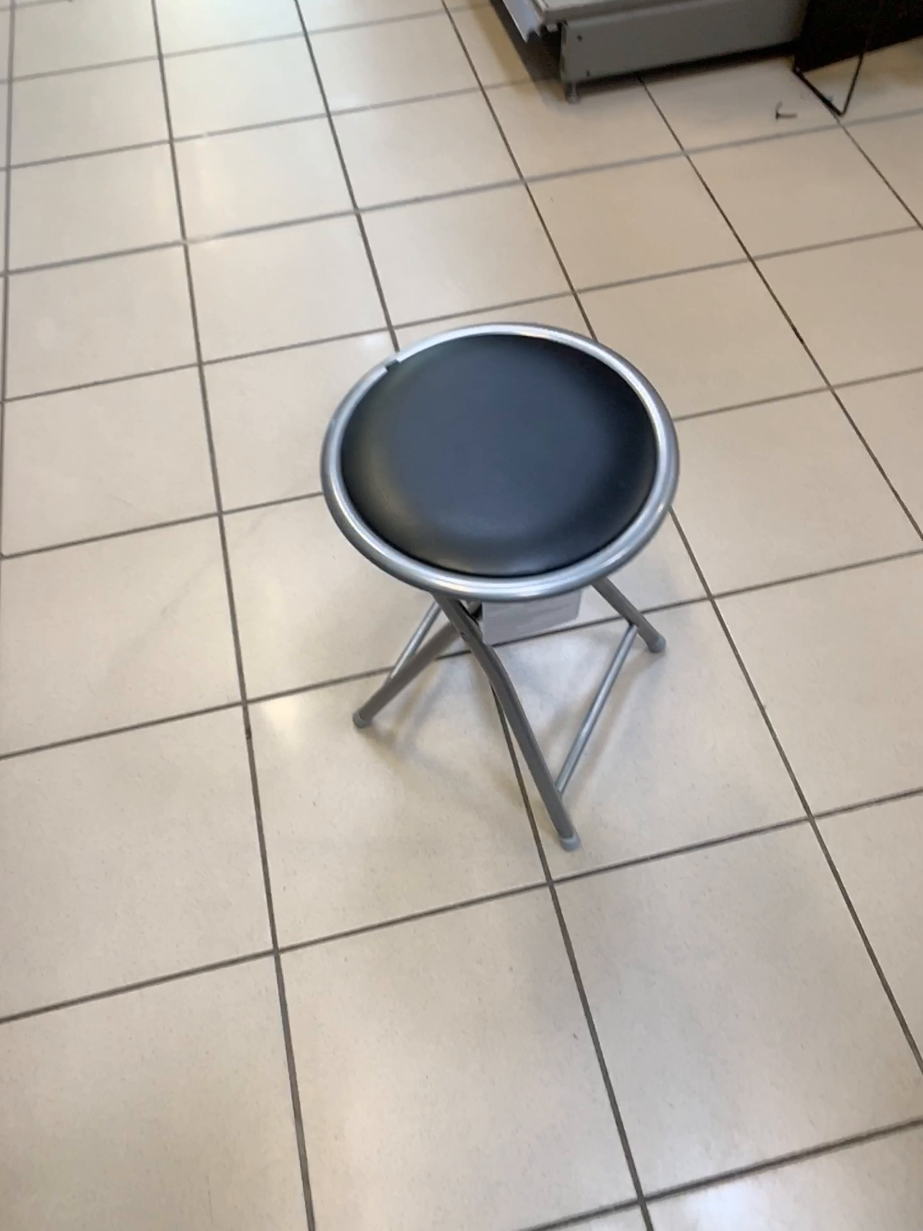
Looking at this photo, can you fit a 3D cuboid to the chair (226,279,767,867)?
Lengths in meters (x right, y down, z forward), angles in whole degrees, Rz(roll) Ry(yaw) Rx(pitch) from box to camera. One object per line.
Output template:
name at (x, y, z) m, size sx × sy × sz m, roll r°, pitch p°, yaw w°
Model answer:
chair at (0.045, -0.027, 0.948) m, size 0.335 × 0.402 × 0.328 m, roll 23°, pitch 62°, yaw 16°
